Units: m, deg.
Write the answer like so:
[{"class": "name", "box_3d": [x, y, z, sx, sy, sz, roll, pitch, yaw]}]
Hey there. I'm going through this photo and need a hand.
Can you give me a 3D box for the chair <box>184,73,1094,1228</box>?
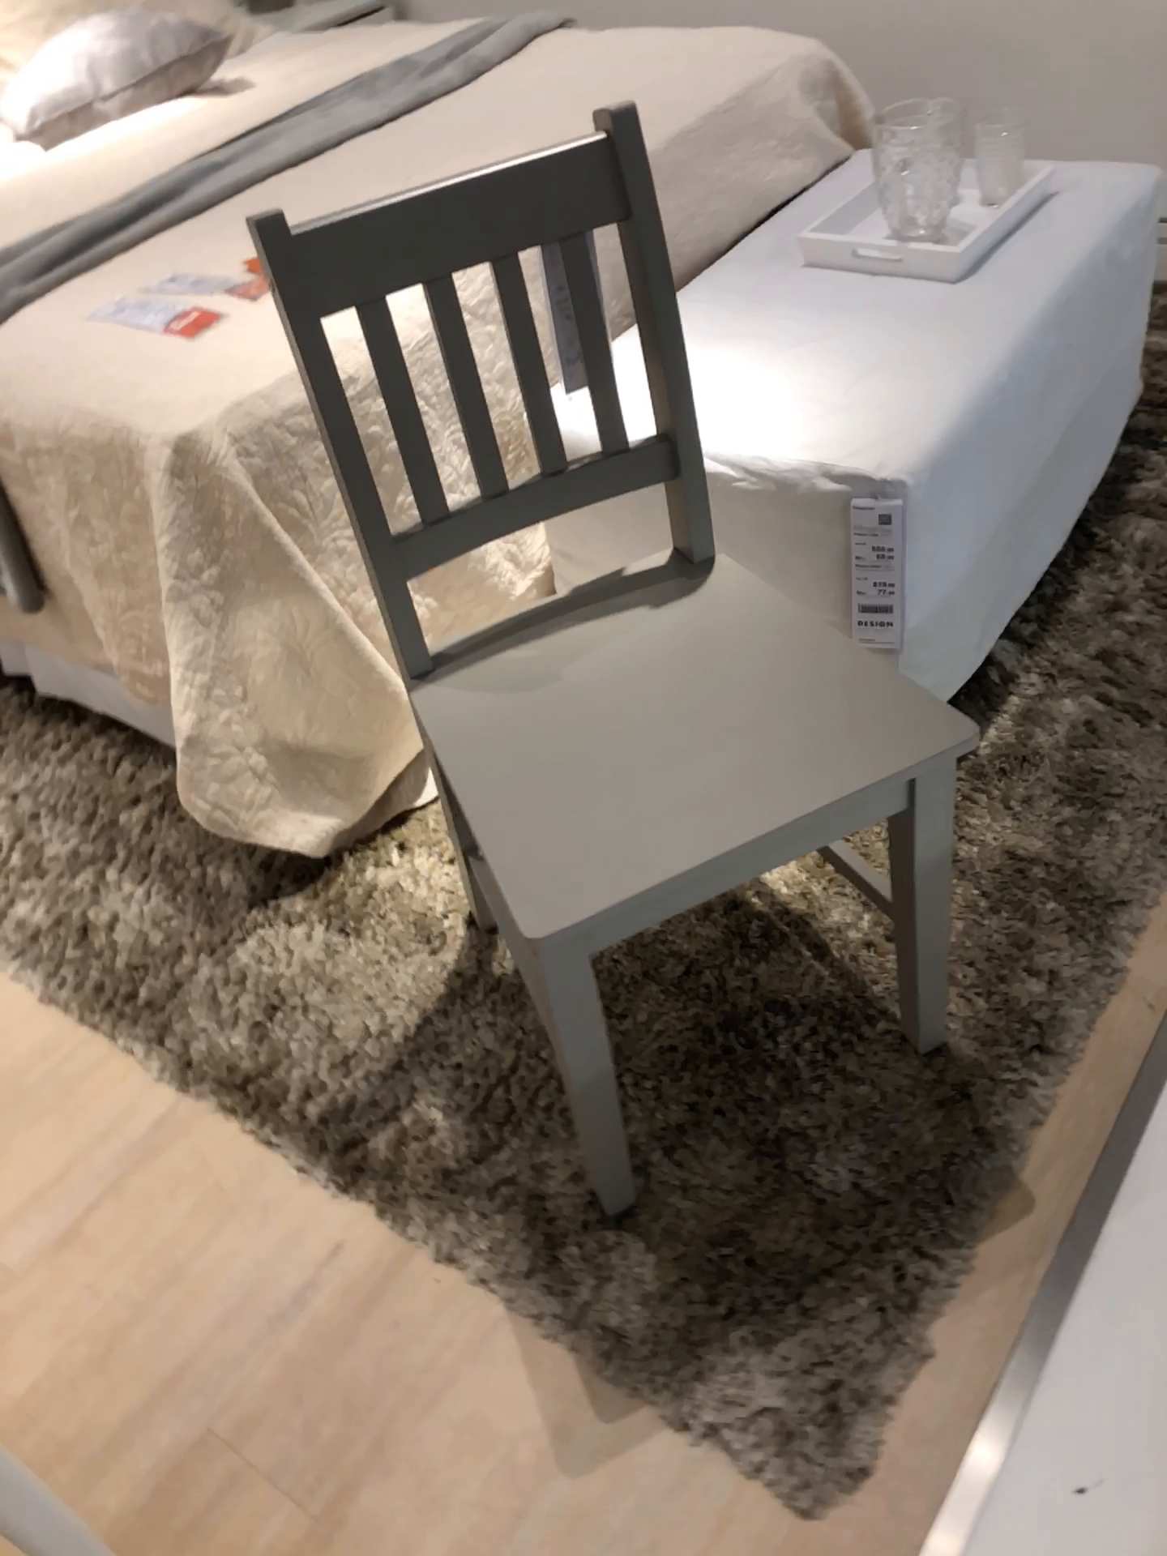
[{"class": "chair", "box_3d": [0.055, -0.115, 1.214, 0.481, 0.823, 0.534, -24, 42, -15]}]
